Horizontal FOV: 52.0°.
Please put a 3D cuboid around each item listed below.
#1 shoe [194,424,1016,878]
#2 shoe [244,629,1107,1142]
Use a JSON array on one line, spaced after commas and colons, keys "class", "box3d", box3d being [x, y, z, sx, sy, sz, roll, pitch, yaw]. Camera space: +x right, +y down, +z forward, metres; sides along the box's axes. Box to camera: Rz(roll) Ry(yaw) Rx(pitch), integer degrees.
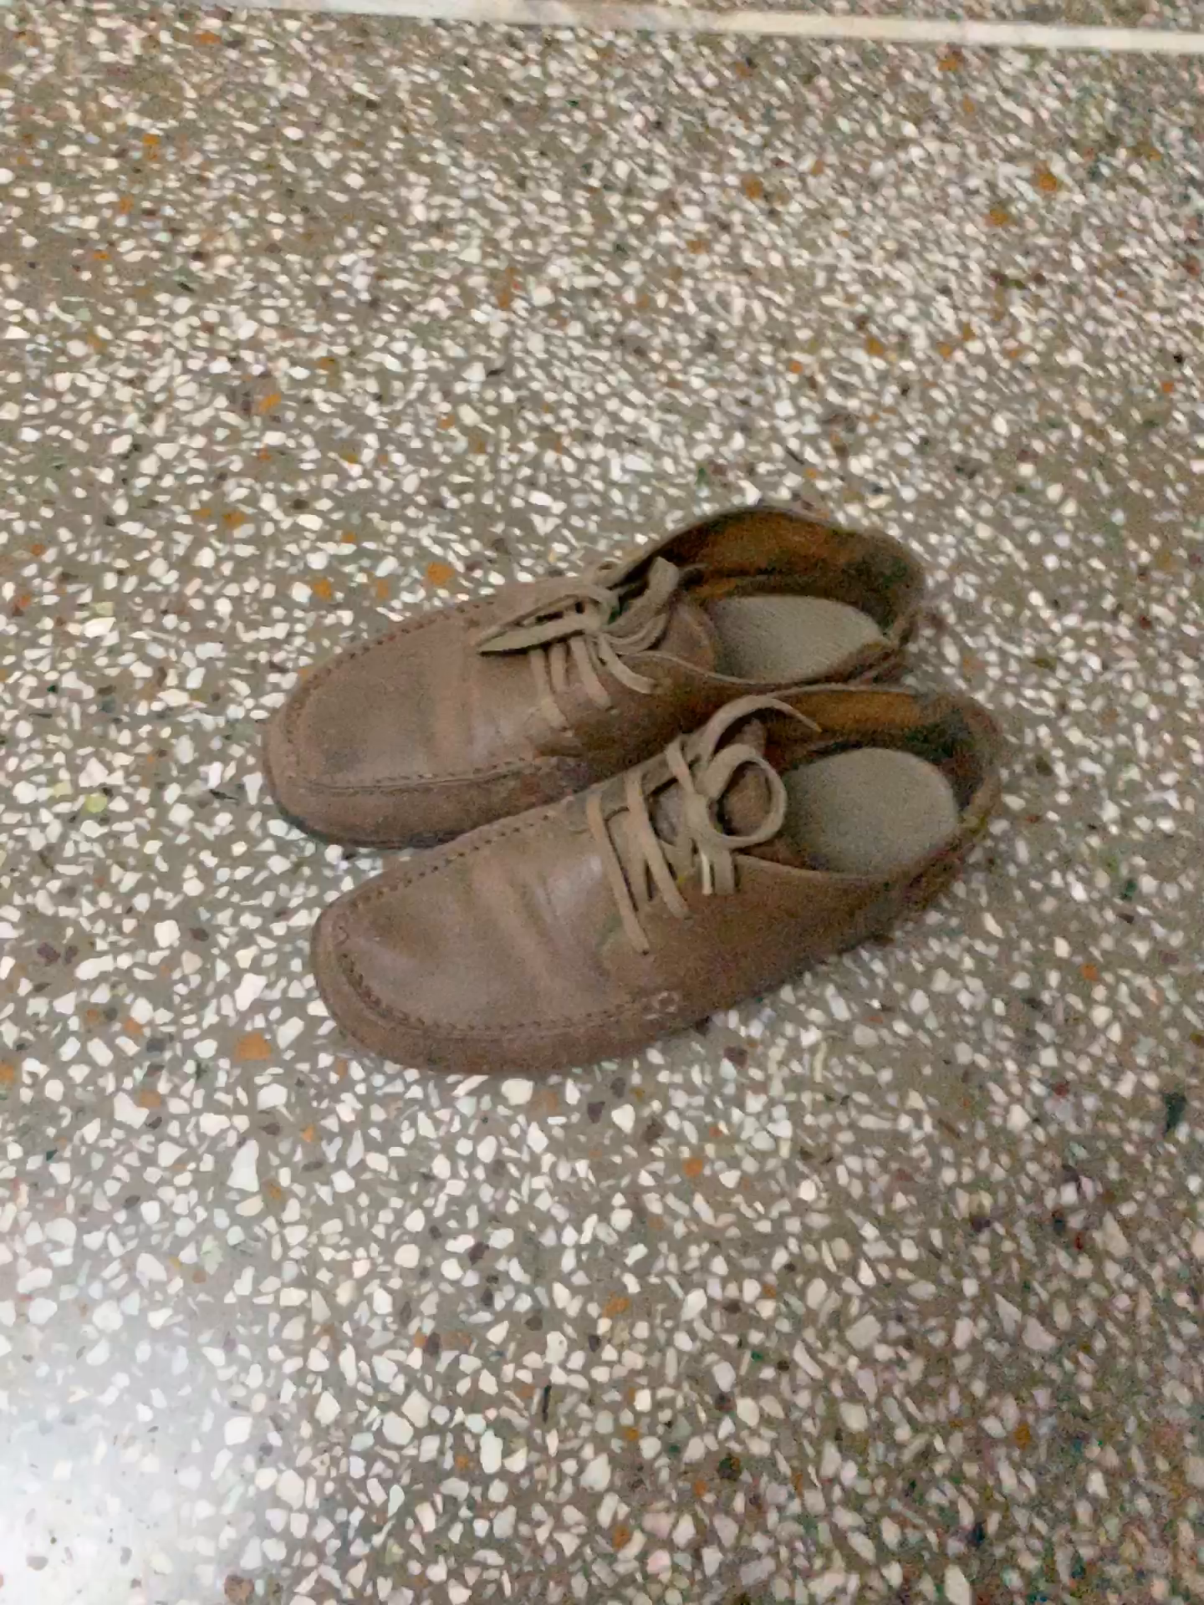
[{"class": "shoe", "box3d": [-0.001, -0.061, 0.503, 0.290, 0.100, 0.100, -11, 70, -10]}, {"class": "shoe", "box3d": [0.025, 0.033, 0.482, 0.290, 0.100, 0.100, -15, 70, -11]}]
